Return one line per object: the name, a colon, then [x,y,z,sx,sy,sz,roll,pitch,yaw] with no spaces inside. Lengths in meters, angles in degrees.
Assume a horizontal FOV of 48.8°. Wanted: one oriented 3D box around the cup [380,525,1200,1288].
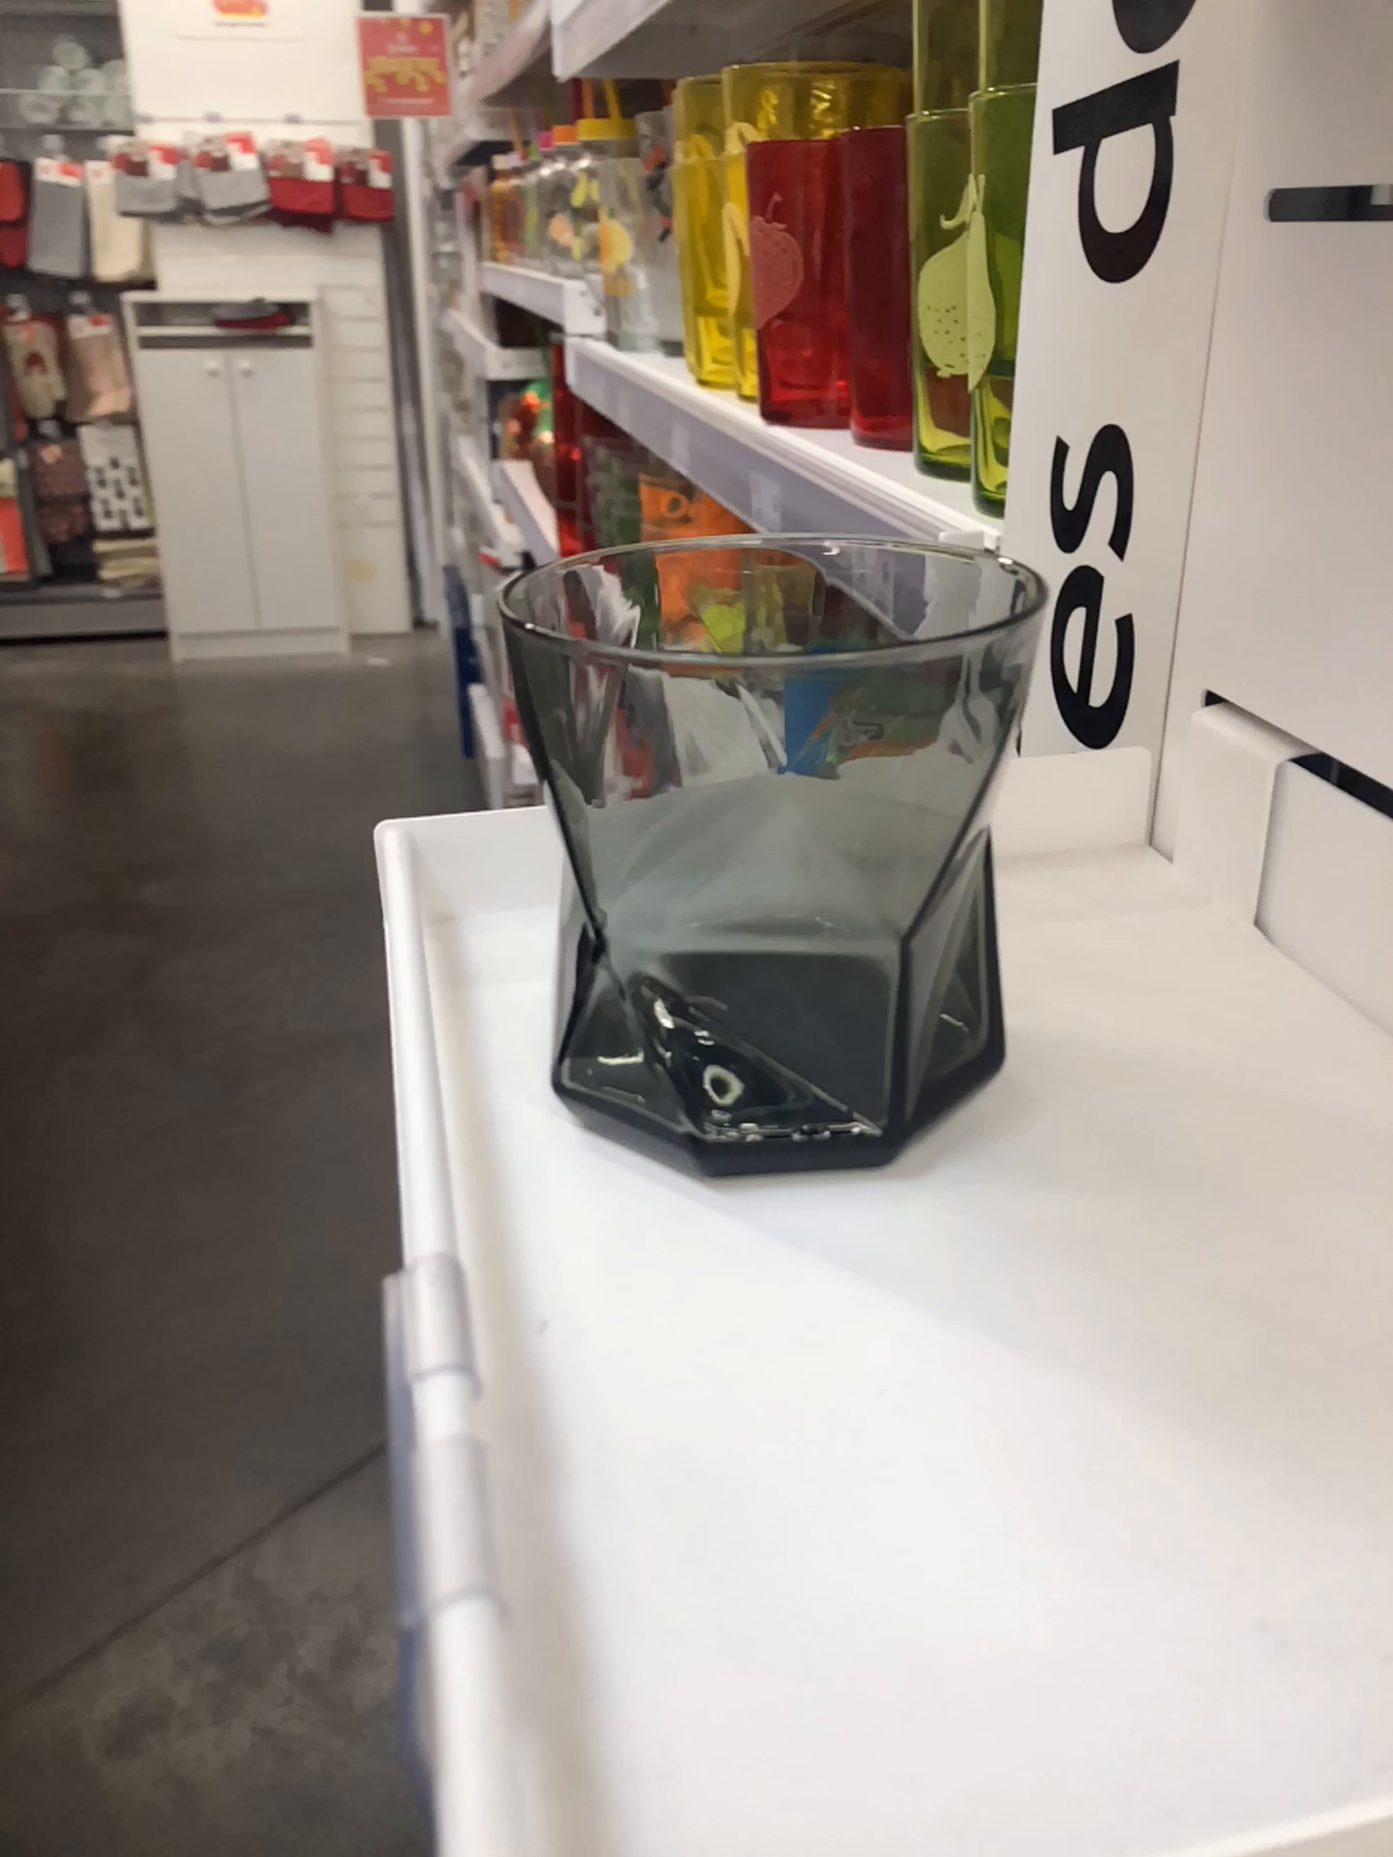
cup: [0.011,-0.014,0.253,0.089,0.080,0.094,-1,25,0]
